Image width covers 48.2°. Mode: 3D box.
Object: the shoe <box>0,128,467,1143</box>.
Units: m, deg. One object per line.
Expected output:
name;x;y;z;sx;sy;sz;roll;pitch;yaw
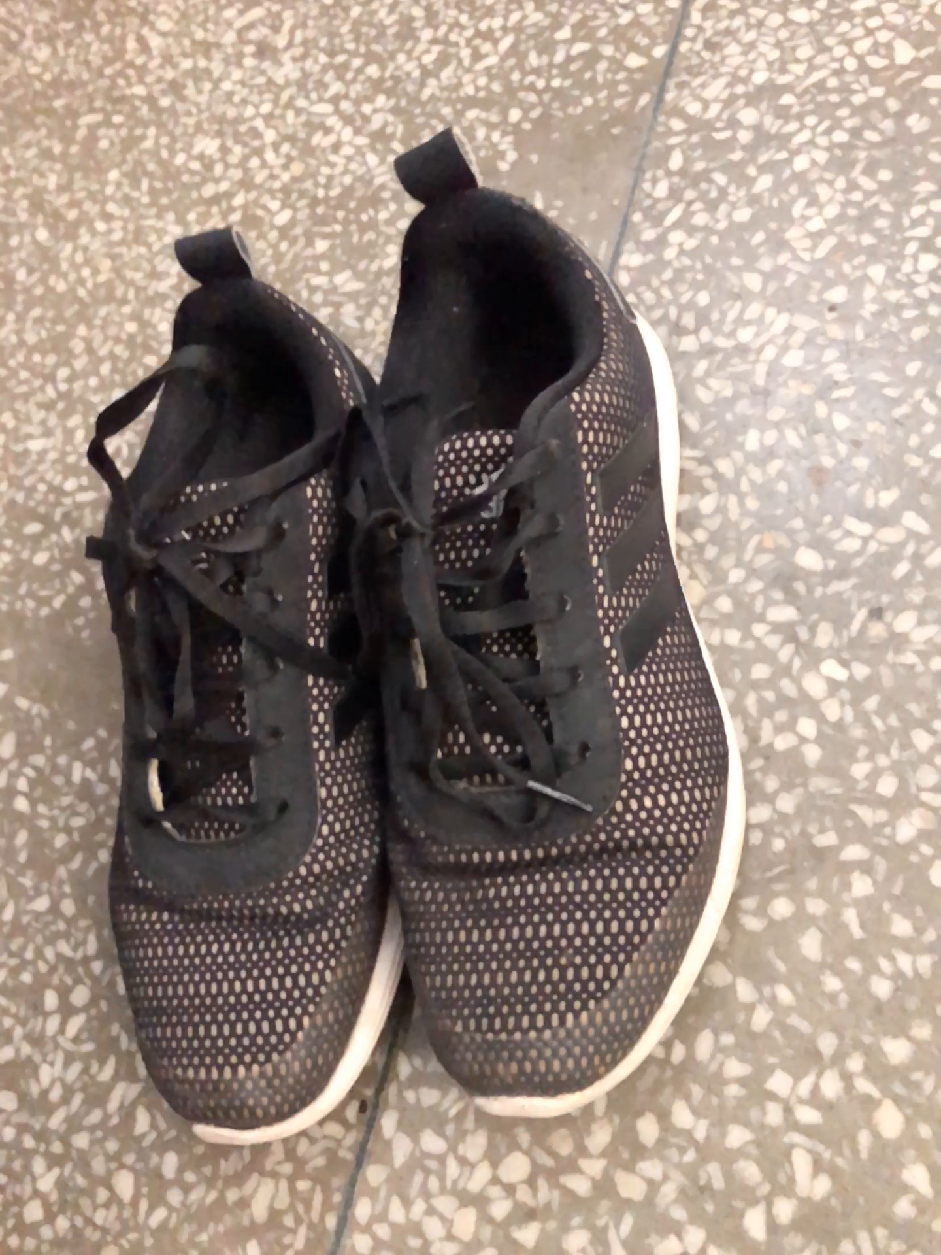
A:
shoe;-0.066;-0.003;0.319;0.100;0.080;0.280;-9;66;17

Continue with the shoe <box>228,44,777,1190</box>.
shoe;0.013;-0.010;0.279;0.100;0.080;0.270;-7;67;17
